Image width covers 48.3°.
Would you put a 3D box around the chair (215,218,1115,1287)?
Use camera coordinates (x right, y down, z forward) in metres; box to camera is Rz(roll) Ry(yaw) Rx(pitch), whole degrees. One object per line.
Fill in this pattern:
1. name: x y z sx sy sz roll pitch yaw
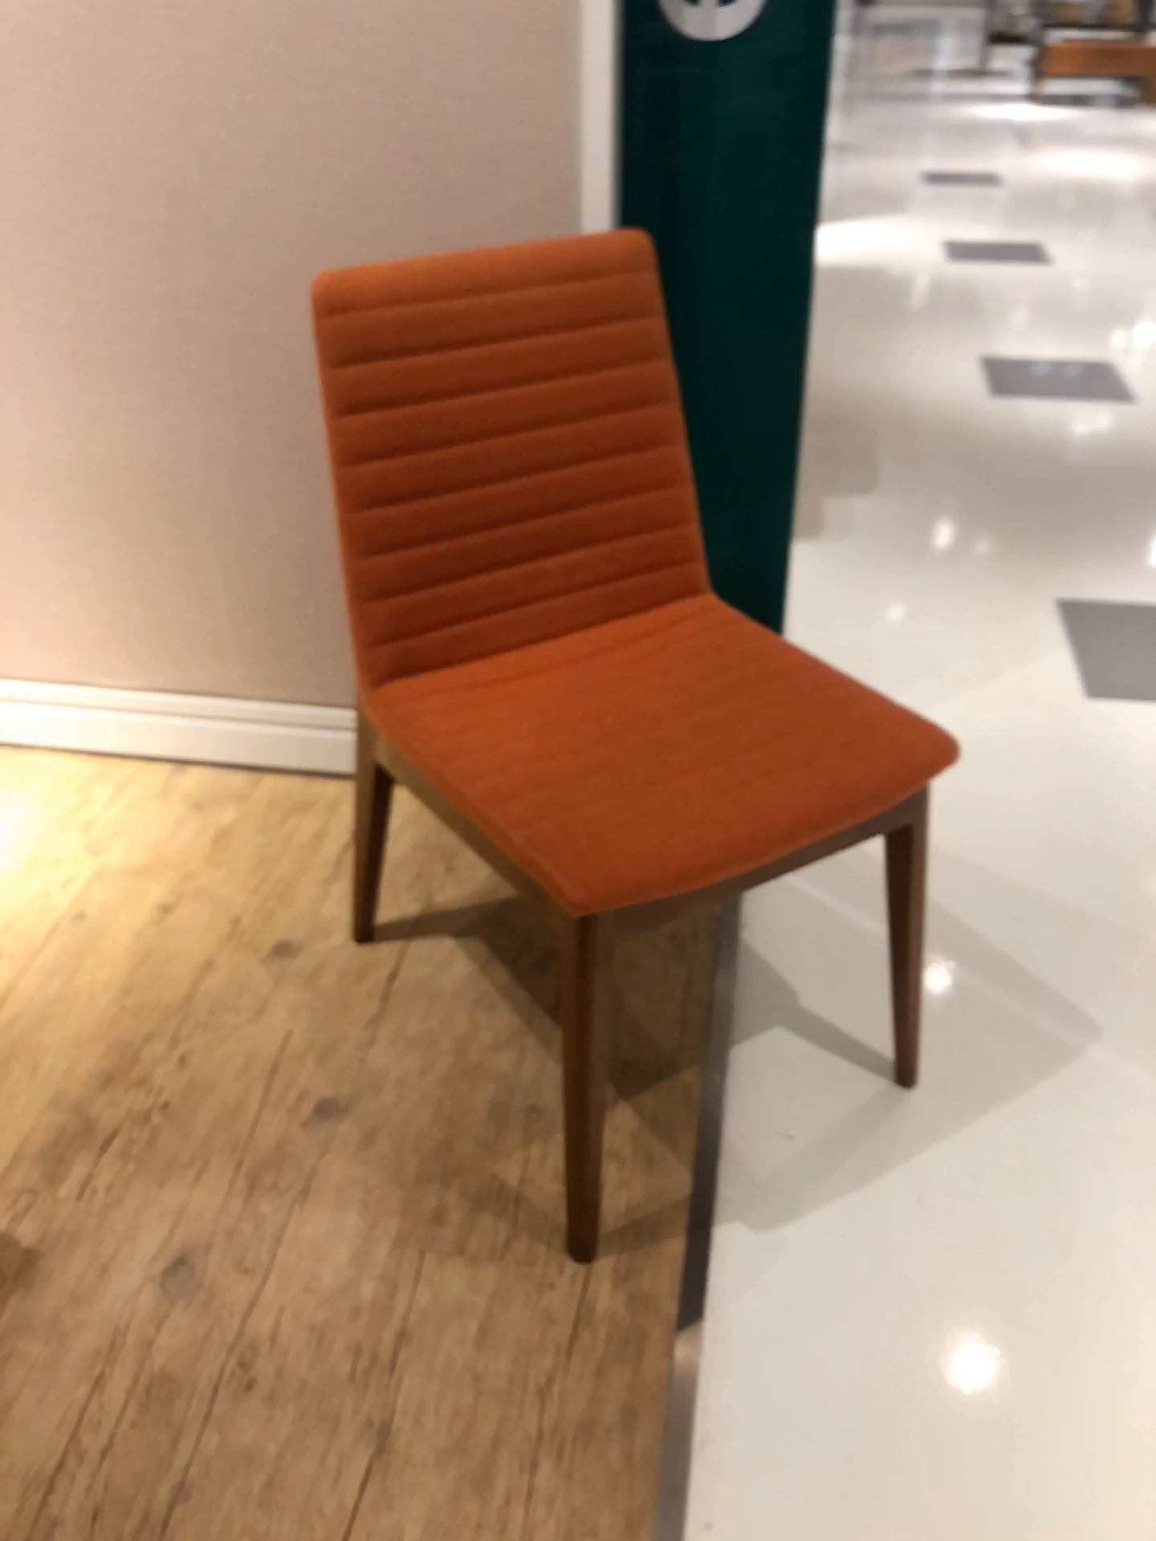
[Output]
1. chair: 0.043 -0.067 1.365 0.531 0.814 0.633 -19 38 -26
